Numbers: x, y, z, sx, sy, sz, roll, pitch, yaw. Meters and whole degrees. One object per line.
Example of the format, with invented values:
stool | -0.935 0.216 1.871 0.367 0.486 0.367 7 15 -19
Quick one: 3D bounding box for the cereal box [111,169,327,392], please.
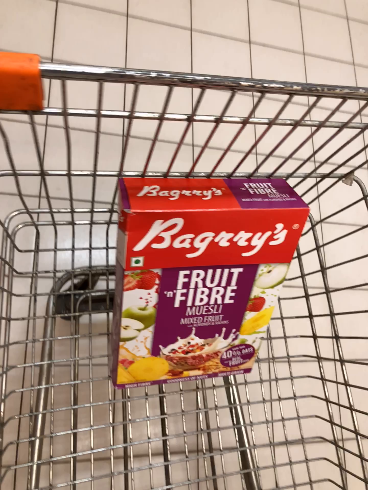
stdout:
cereal box | 0.021 0.046 0.461 0.190 0.249 0.070 -2 35 -16
